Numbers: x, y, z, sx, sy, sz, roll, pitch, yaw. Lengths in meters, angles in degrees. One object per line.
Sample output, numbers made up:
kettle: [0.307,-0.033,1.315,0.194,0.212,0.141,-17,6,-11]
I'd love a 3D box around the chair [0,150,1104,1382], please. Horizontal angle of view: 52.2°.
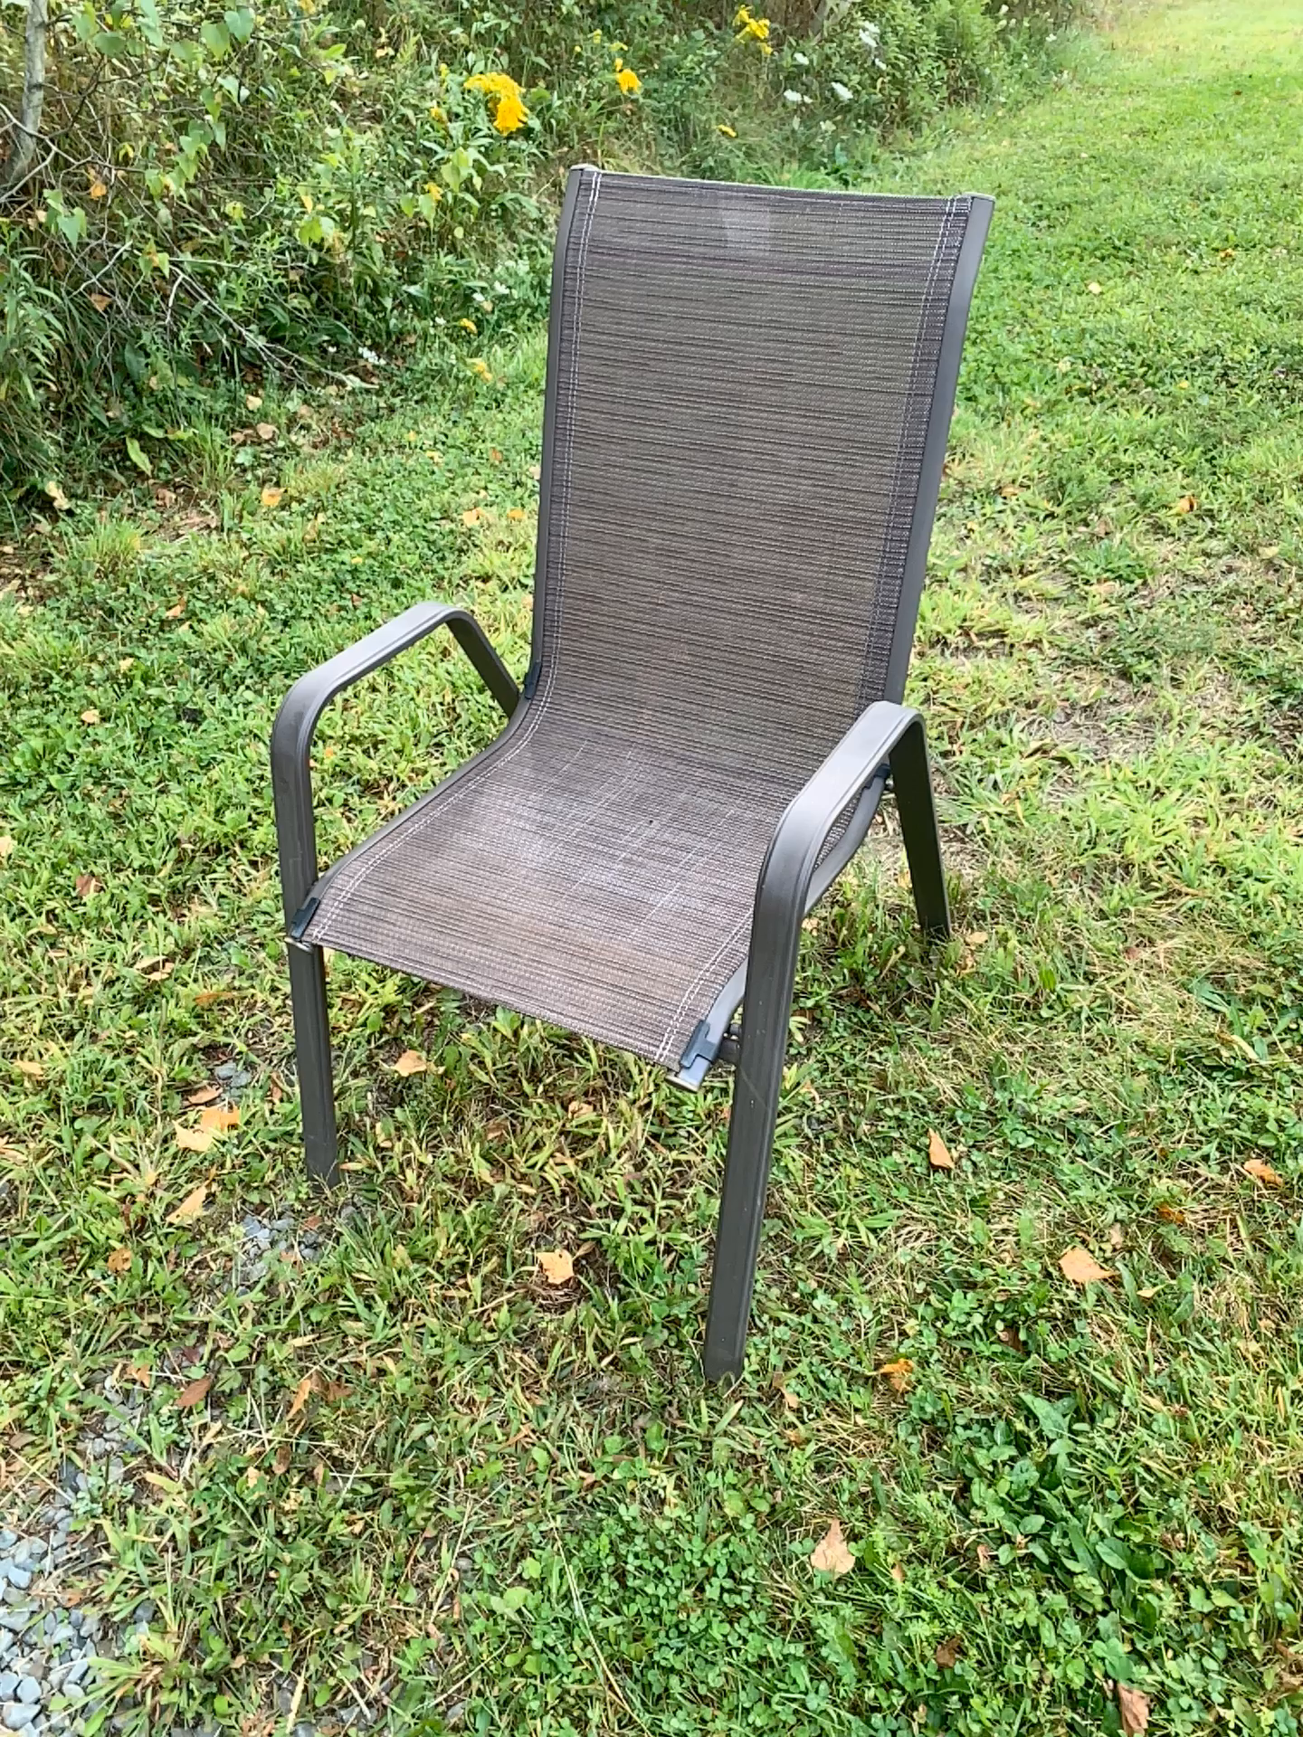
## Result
chair: [-0.013,-0.173,1.323,0.621,0.875,0.743,15,37,23]
